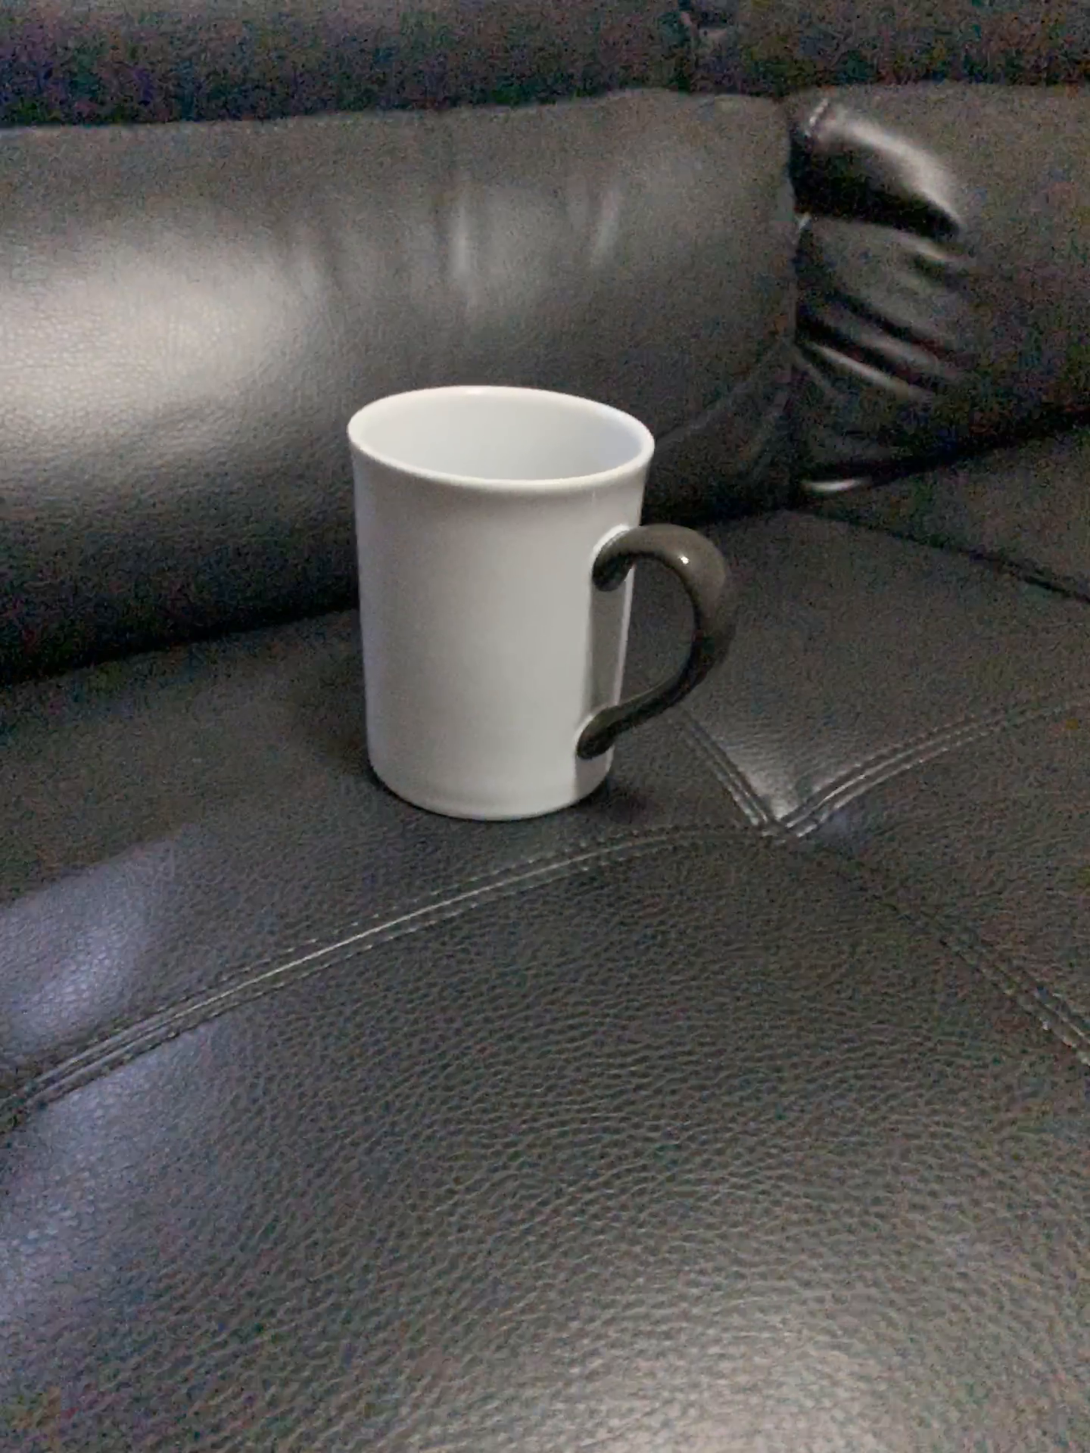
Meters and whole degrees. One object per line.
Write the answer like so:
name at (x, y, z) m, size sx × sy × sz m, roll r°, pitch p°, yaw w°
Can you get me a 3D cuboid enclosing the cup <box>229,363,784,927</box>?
cup at (-0.012, -0.034, 0.340) m, size 0.124 × 0.115 × 0.093 m, roll 22°, pitch 35°, yaw 33°
